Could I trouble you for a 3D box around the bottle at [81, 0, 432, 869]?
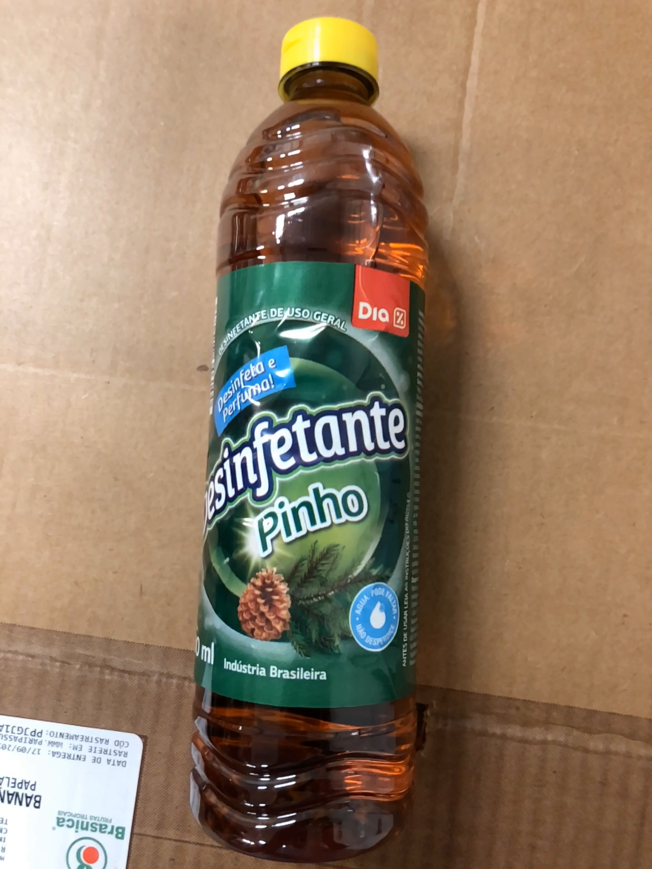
[{"bbox_3d":[-0.009,-0.004,0.195,0.060,0.070,0.220,0,81,17],"label":"bottle"}]
